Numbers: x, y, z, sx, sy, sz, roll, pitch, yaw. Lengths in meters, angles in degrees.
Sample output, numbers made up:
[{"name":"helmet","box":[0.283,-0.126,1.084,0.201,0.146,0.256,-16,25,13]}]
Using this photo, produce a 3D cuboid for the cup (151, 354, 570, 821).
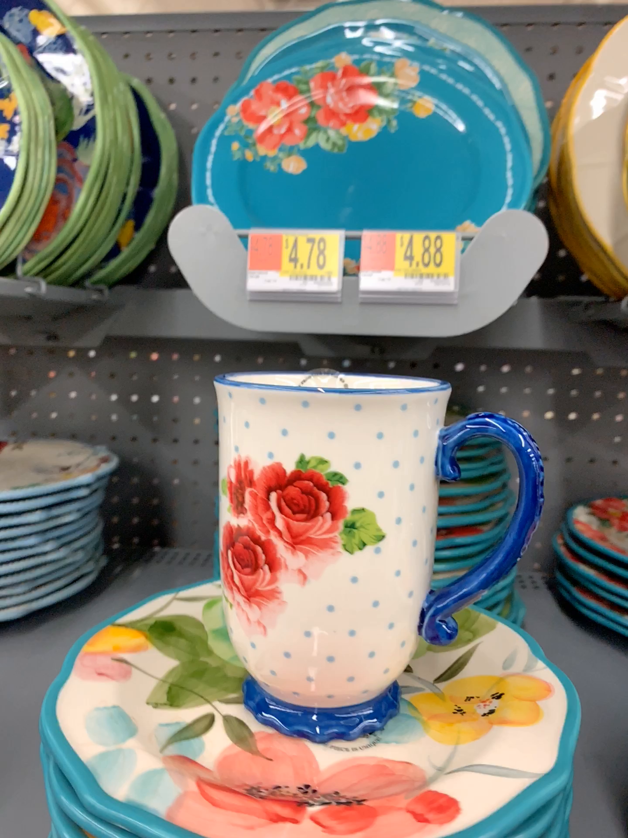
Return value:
[{"name":"cup","box":[0.020,0.045,0.249,0.130,0.130,0.090,4,9,17]}]
